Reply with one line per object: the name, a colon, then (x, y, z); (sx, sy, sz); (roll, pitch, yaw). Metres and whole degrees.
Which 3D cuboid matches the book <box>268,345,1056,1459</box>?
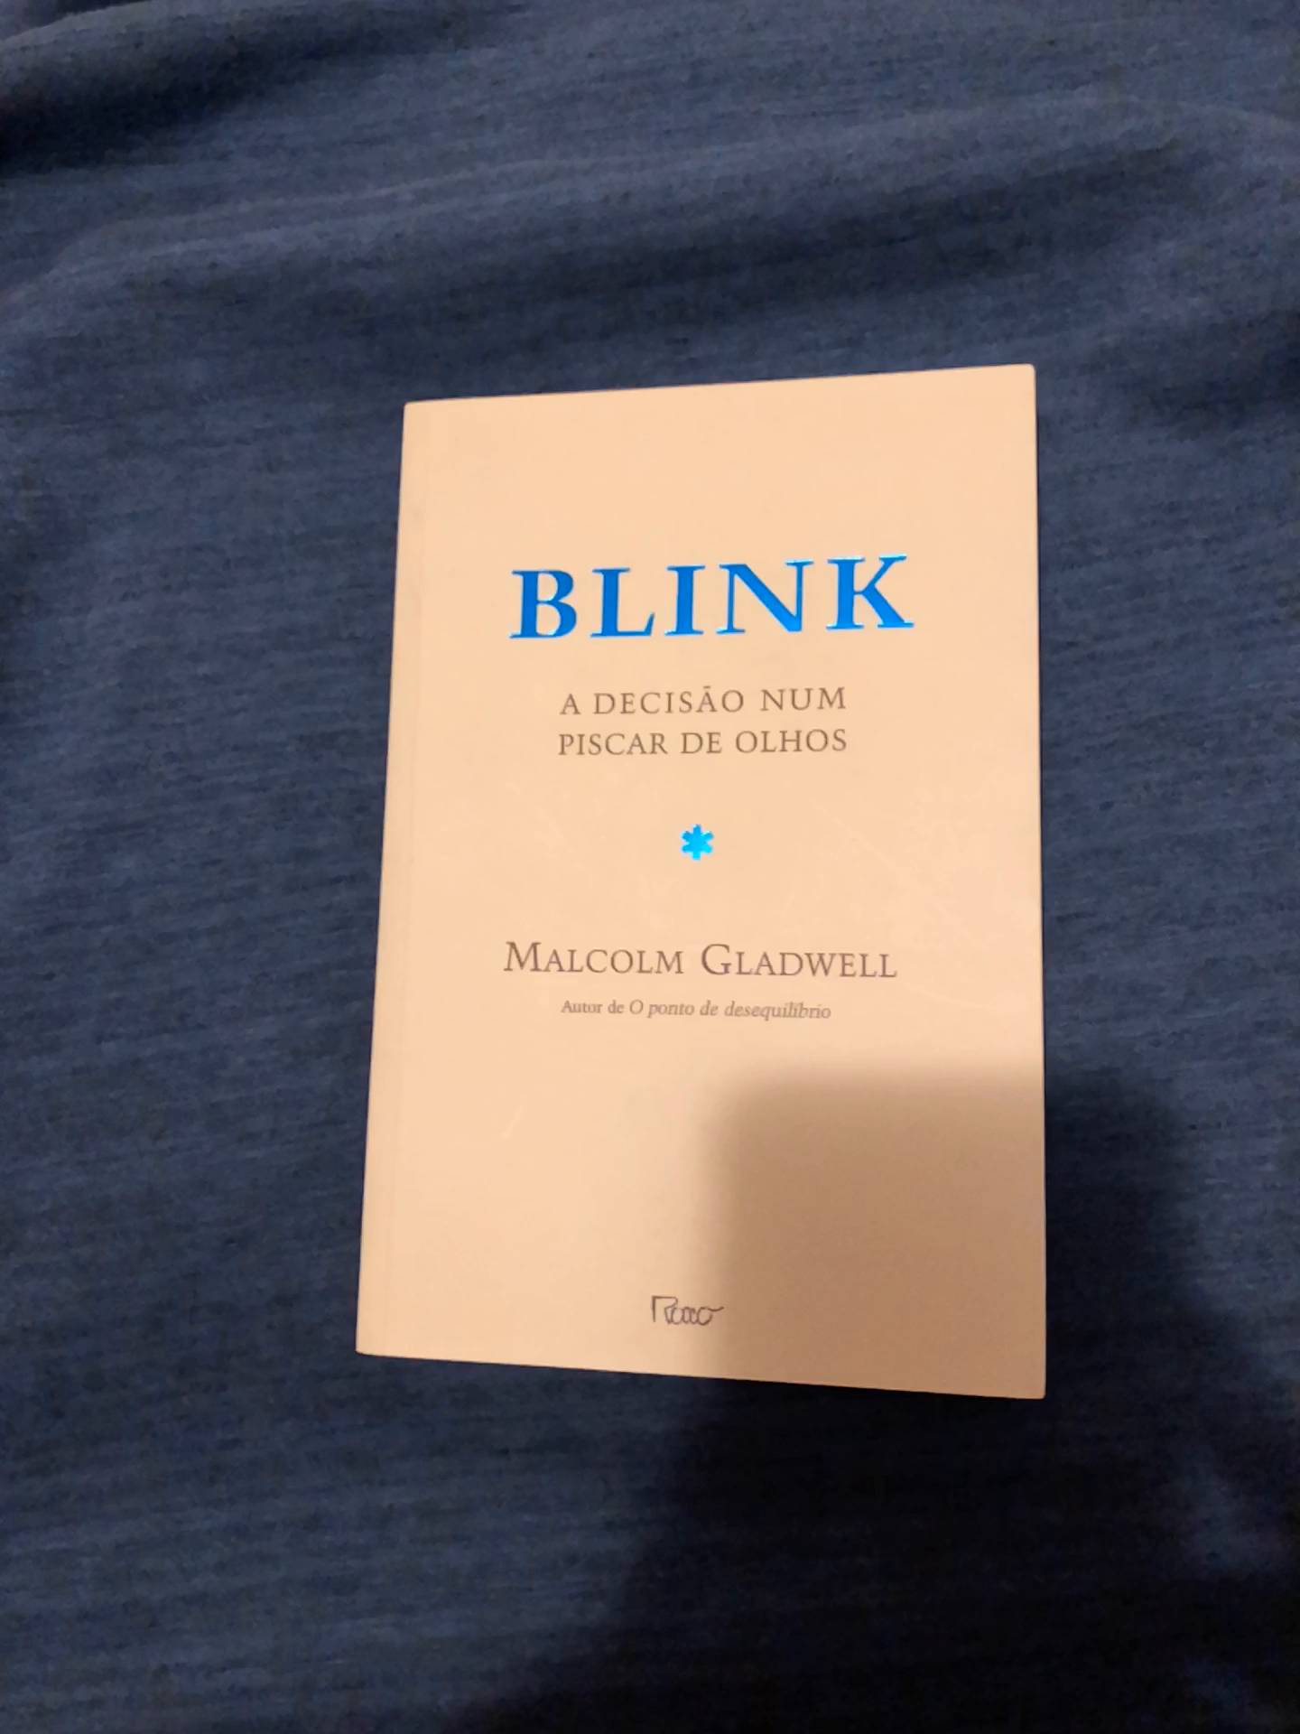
book: (0.005, 0.001, 0.307); (0.150, 0.030, 0.220); (0, 78, 9)
